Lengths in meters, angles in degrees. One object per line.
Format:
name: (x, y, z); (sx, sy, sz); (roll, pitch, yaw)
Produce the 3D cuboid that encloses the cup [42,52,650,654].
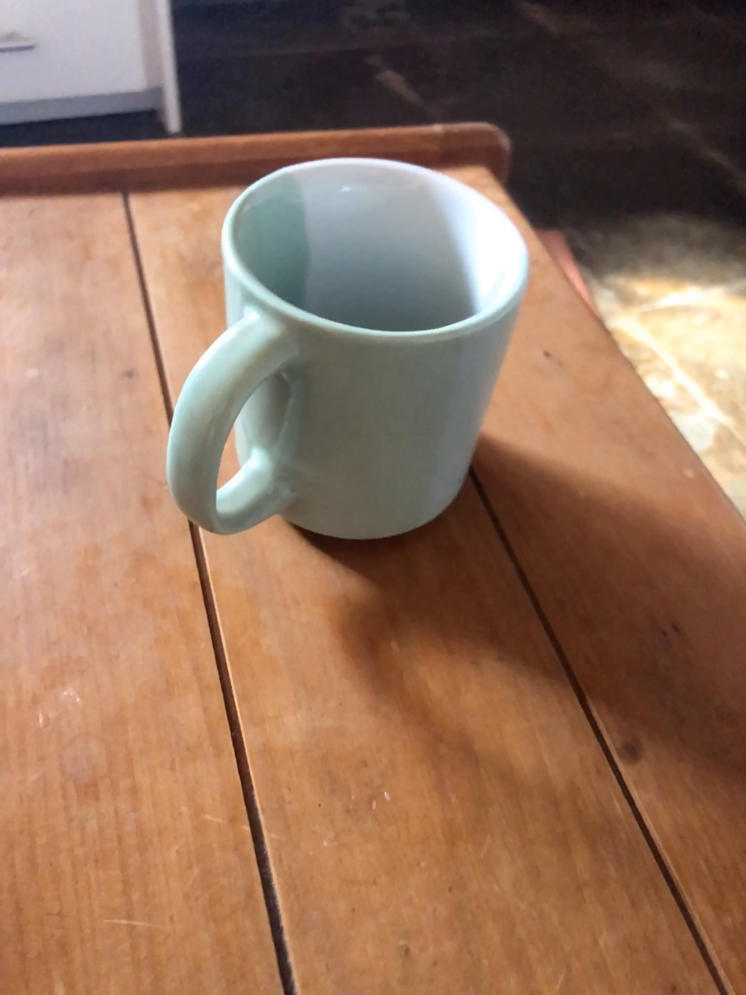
cup: (-0.002, -0.046, 0.231); (0.080, 0.089, 0.131); (33, 54, 20)
